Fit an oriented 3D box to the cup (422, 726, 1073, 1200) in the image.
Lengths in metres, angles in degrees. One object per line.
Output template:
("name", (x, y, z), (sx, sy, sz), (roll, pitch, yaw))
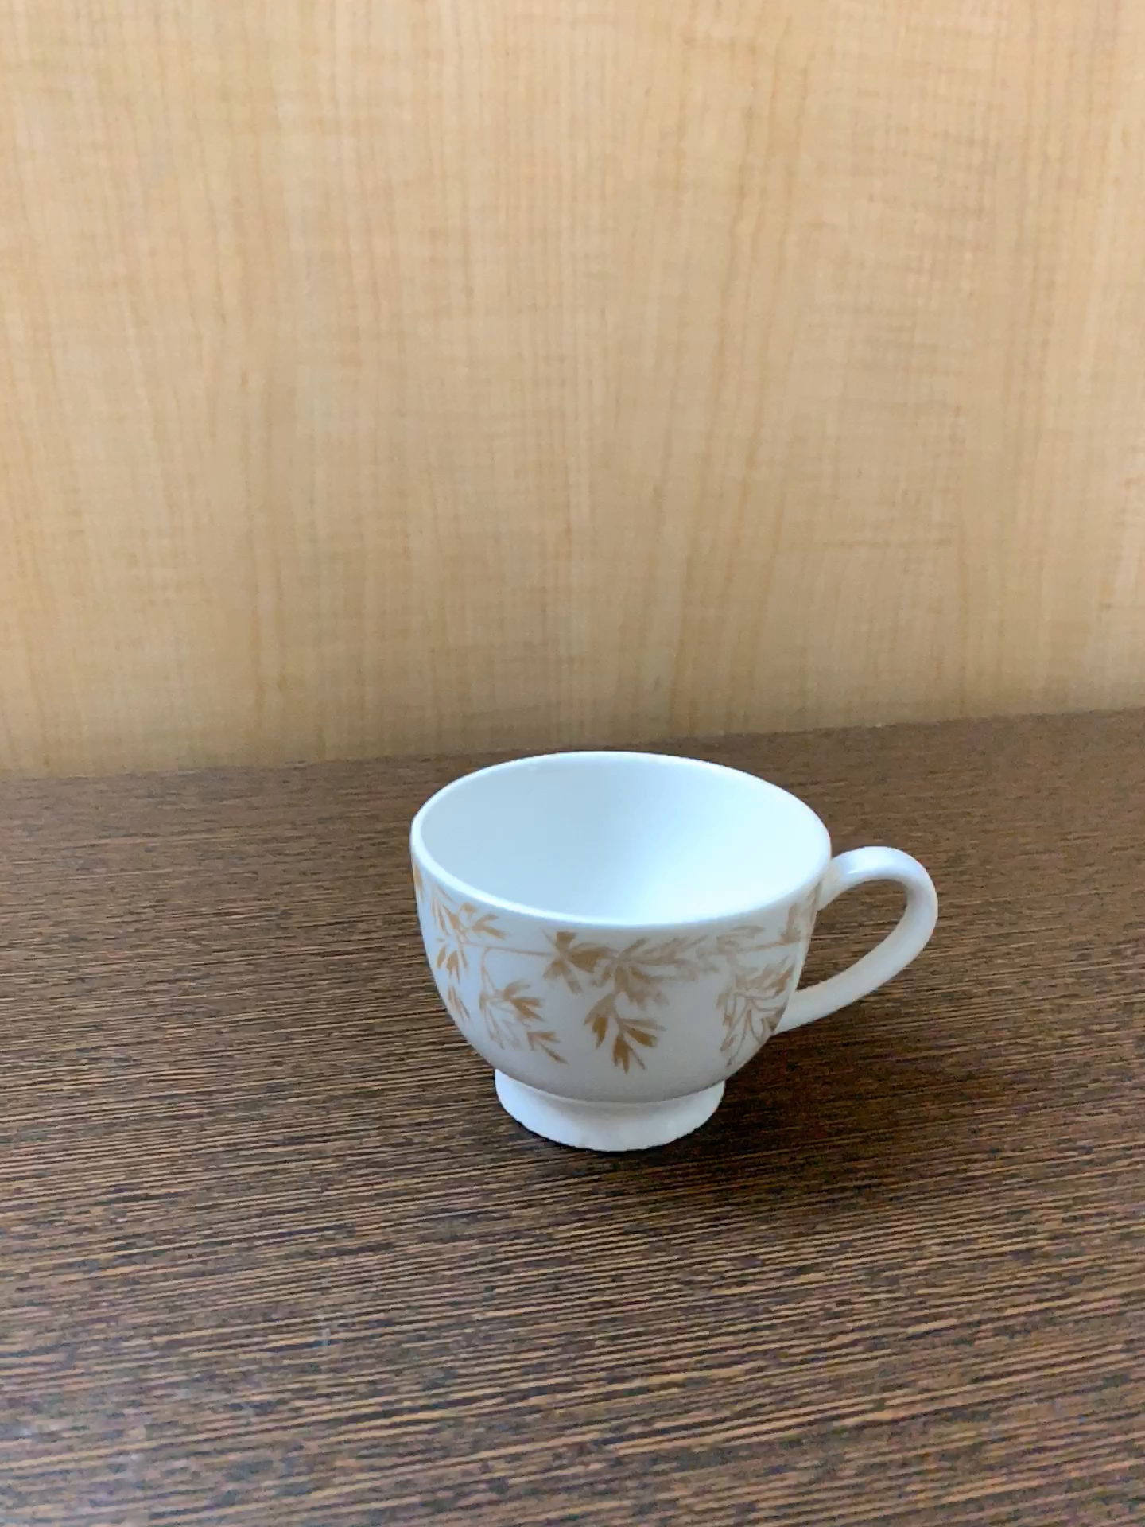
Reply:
("cup", (0.023, 0.031, 0.224), (0.100, 0.050, 0.081), (-2, 20, -6))
